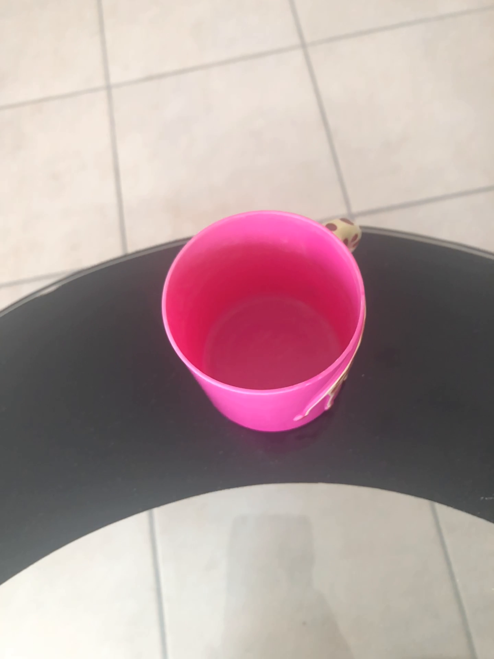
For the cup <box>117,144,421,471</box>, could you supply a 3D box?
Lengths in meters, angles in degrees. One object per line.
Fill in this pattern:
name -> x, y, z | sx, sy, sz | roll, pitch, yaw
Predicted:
cup -> 0.012, -0.005, 0.221 | 0.070, 0.070, 0.090 | 24, 74, 14
